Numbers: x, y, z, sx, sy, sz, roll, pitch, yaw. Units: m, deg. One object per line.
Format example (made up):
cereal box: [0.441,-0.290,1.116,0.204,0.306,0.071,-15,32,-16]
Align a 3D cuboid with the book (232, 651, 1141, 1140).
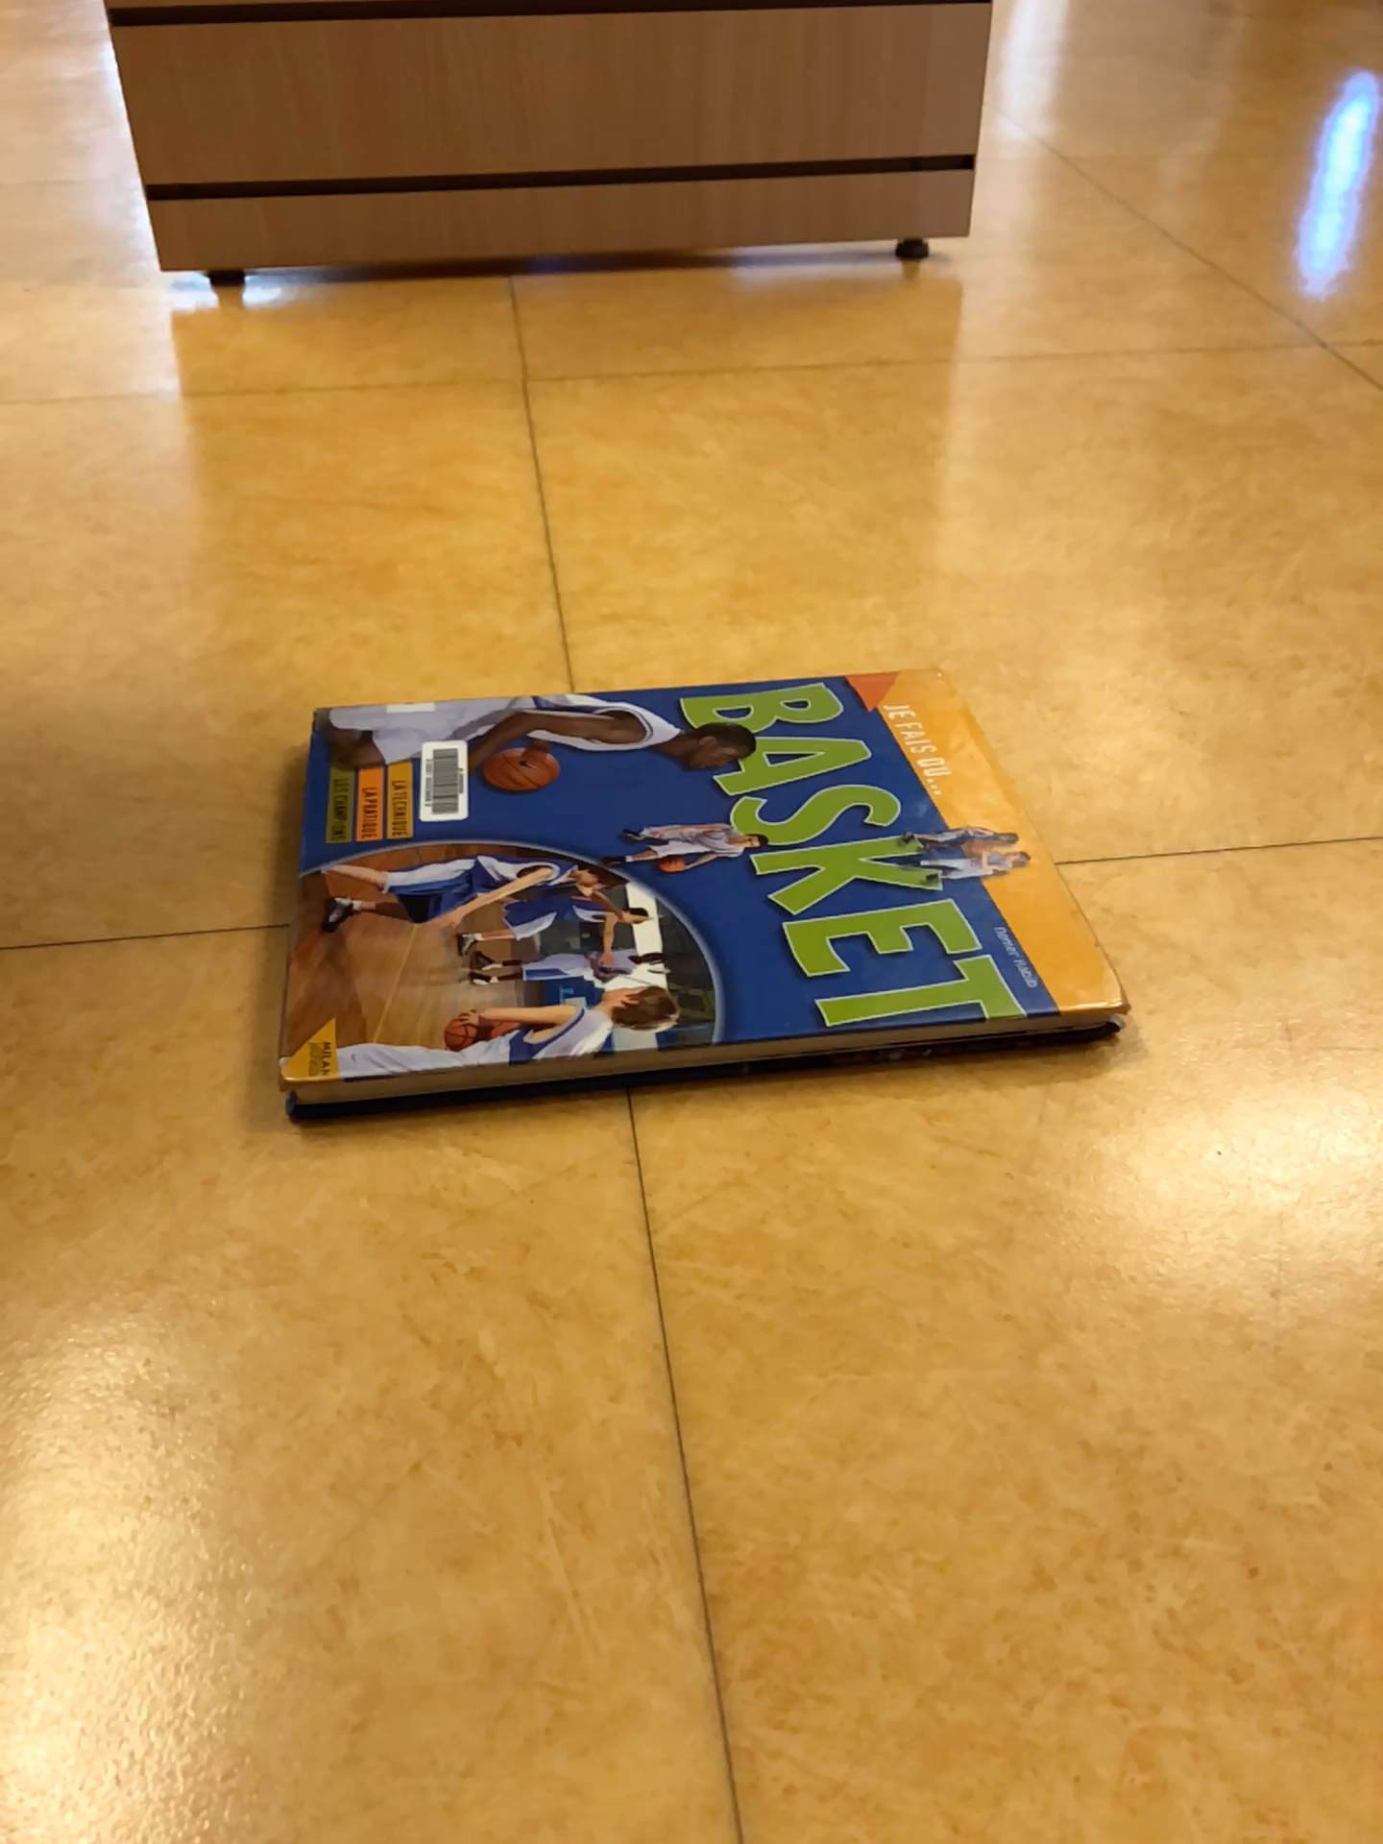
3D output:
book: [-0.012,-0.024,0.513,0.257,0.020,0.211,-5,39,-7]
